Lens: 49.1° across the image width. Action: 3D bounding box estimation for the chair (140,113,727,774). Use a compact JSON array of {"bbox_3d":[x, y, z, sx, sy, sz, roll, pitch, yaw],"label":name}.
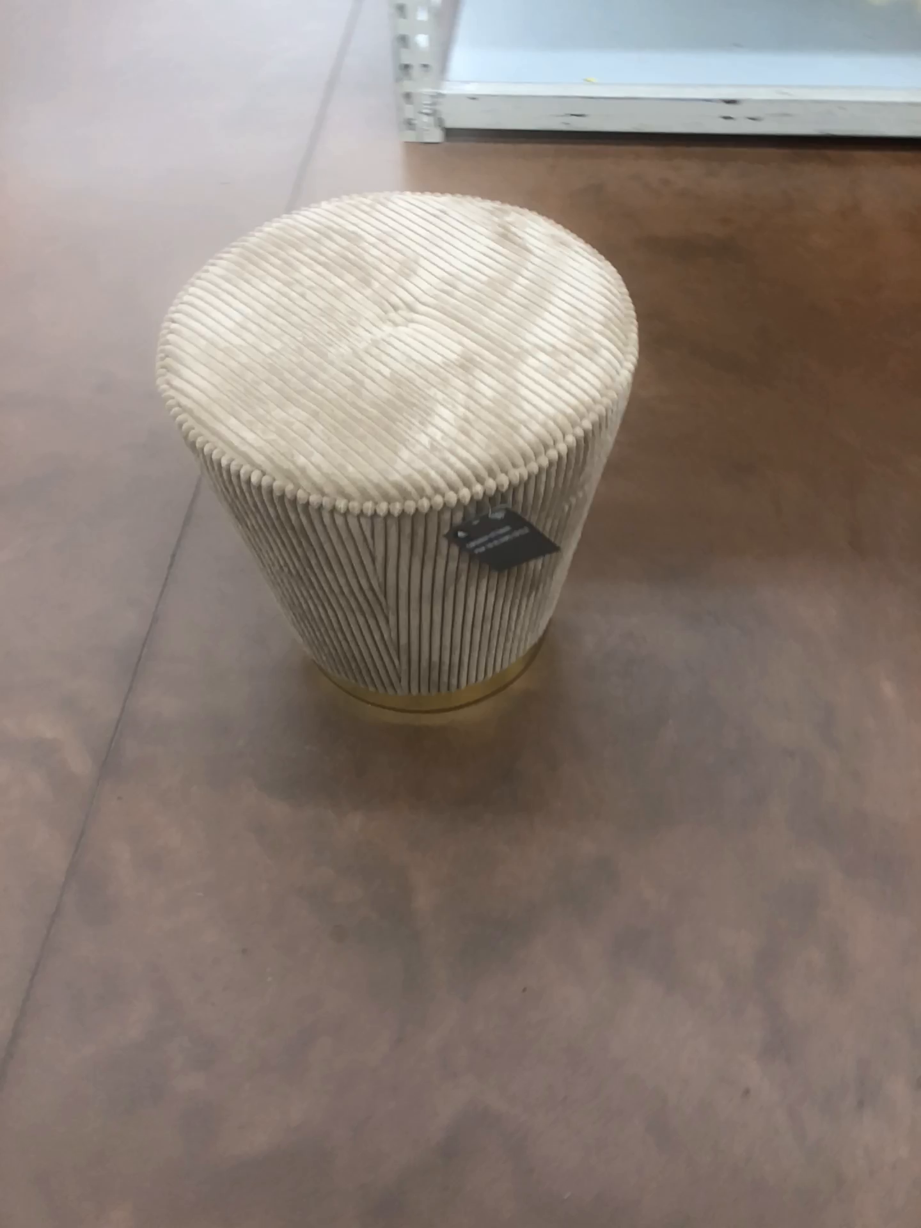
[{"bbox_3d":[-0.044,-0.166,1.079,0.450,0.479,0.421,-10,54,-4],"label":"chair"}]
